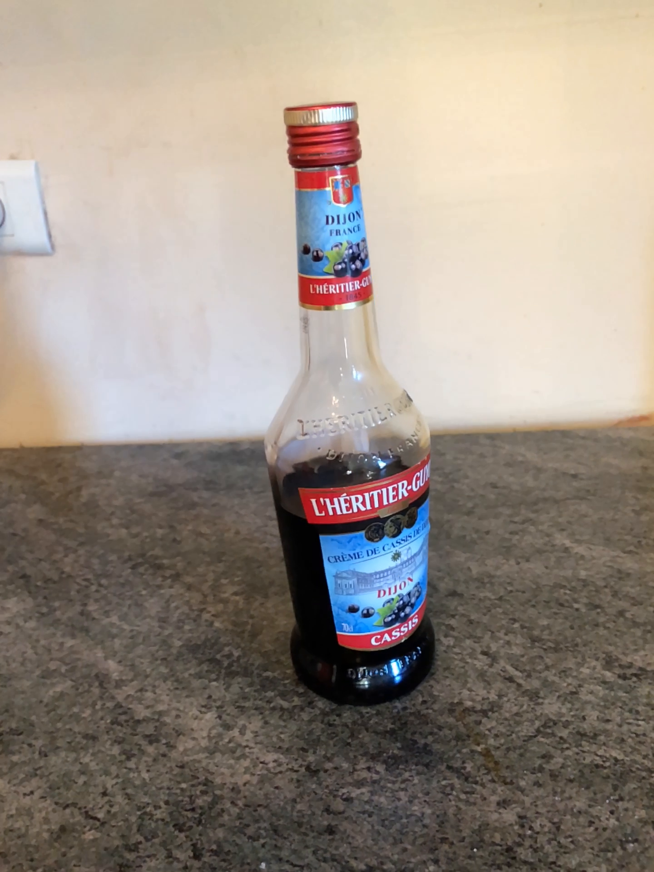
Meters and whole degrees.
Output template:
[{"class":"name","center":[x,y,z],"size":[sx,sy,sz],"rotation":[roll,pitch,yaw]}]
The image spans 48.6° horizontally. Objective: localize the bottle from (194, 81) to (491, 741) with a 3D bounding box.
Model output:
[{"class":"bottle","center":[0.014,-0.007,0.363],"size":[0.090,0.298,0.090],"rotation":[-4,24,2]}]
